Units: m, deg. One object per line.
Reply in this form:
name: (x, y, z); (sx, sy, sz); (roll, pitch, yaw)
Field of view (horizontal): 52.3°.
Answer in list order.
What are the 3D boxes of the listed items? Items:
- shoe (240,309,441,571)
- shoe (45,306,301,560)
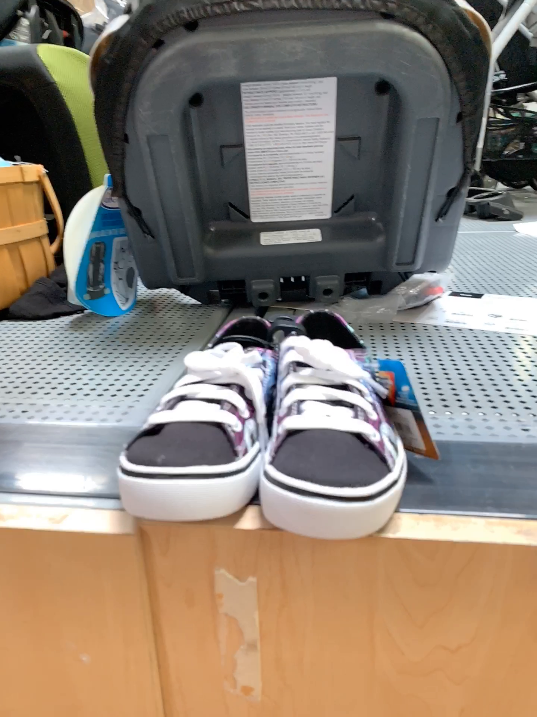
shoe: (0.044, 0.031, 0.357); (0.089, 0.073, 0.213); (0, 20, 7)
shoe: (-0.041, 0.028, 0.366); (0.091, 0.073, 0.208); (3, 21, 13)
